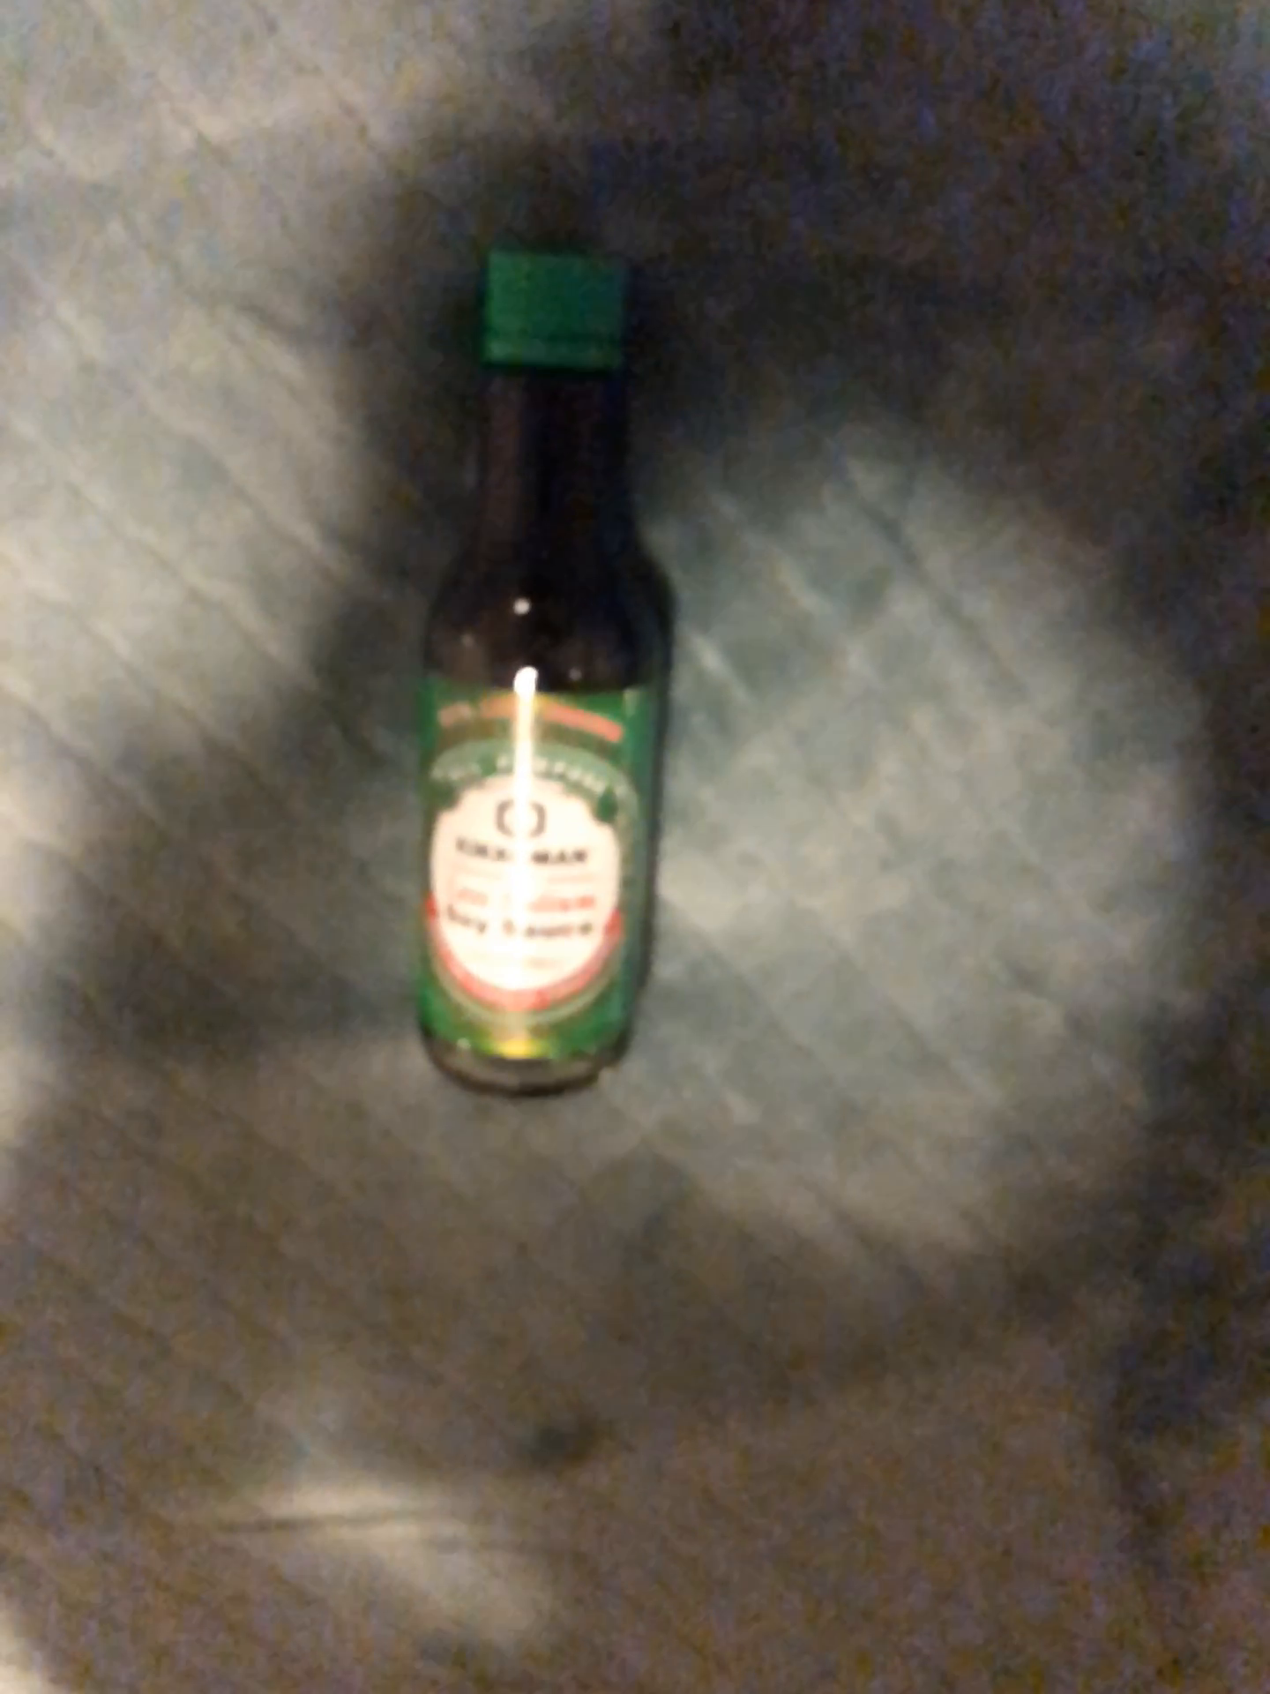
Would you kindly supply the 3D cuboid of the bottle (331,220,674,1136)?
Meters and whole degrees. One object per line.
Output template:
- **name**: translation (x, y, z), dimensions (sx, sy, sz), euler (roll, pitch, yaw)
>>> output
- **bottle**: translation (-0.031, -0.037, 0.356), dimensions (0.070, 0.060, 0.211), euler (2, 110, -1)
